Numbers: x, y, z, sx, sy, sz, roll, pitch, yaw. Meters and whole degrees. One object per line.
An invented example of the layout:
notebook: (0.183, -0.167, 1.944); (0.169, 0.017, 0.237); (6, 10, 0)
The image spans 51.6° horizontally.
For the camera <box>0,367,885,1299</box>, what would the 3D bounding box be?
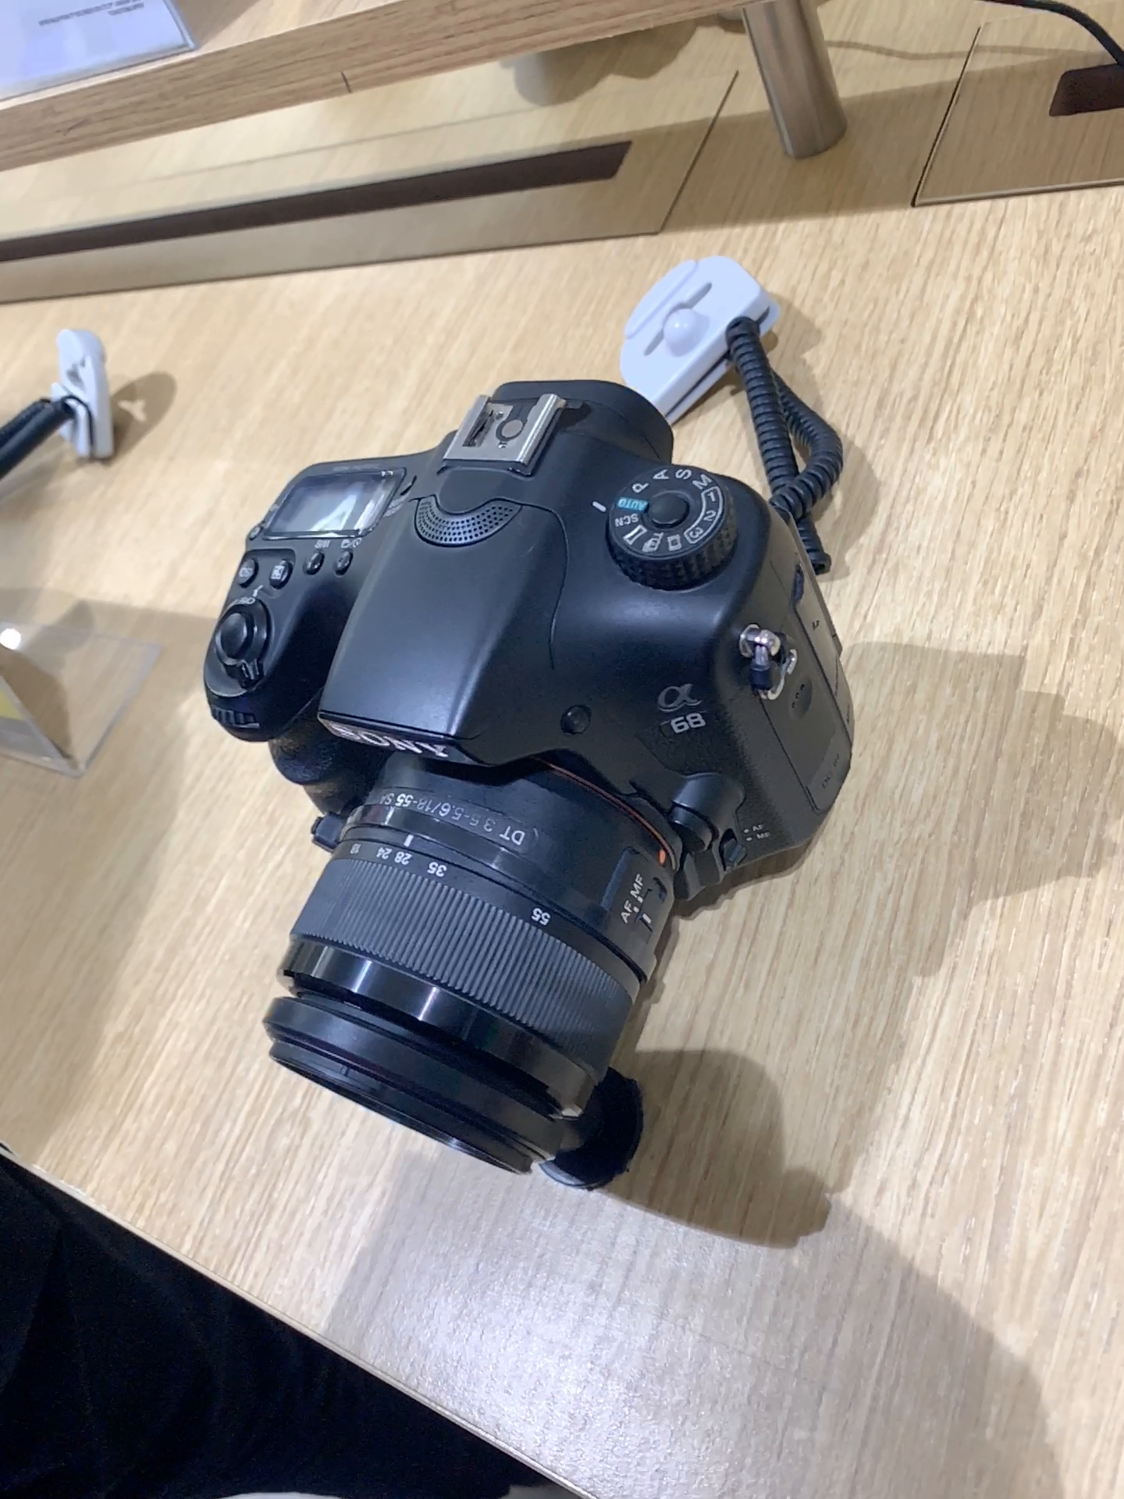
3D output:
camera: (-0.025, 0.012, 0.239); (0.131, 0.100, 0.134); (8, 65, 33)
